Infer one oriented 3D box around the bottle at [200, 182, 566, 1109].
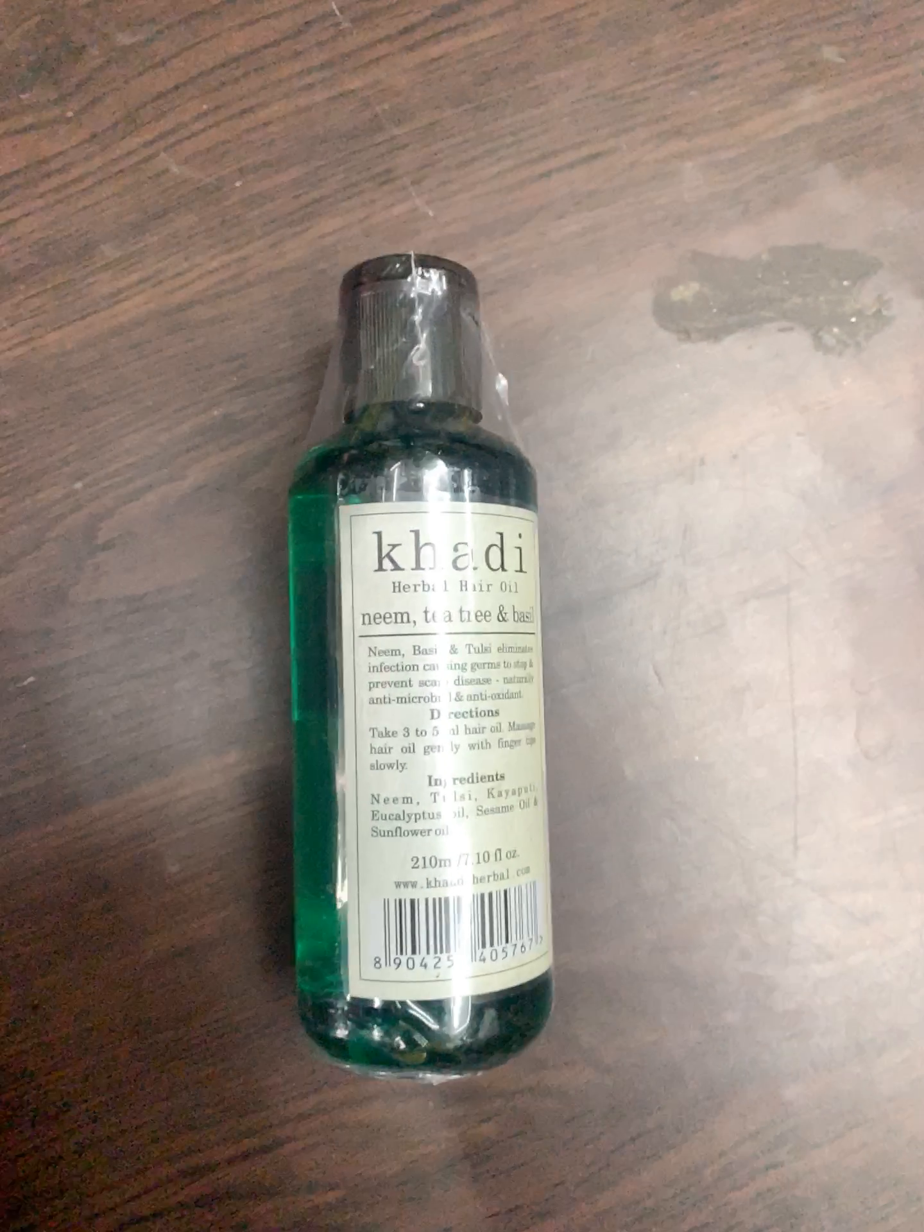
[{"bbox_3d":[-0.018,0.004,0.191,0.050,0.050,0.150,0,86,-30],"label":"bottle"}]
